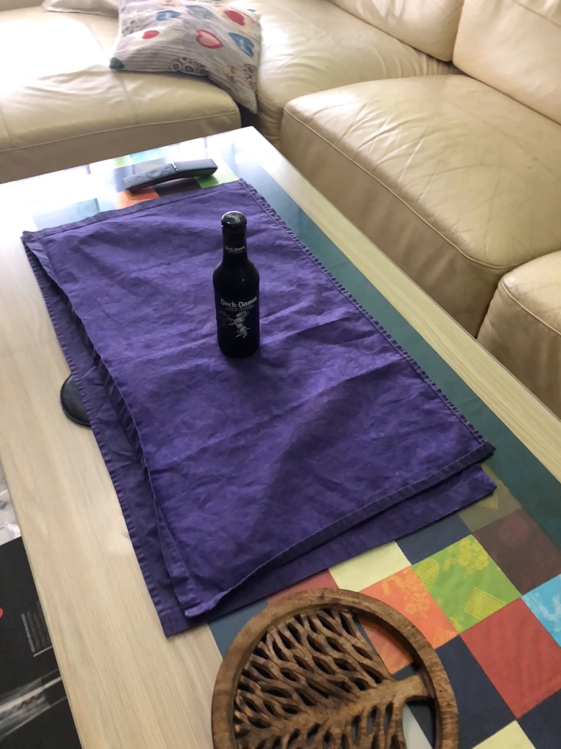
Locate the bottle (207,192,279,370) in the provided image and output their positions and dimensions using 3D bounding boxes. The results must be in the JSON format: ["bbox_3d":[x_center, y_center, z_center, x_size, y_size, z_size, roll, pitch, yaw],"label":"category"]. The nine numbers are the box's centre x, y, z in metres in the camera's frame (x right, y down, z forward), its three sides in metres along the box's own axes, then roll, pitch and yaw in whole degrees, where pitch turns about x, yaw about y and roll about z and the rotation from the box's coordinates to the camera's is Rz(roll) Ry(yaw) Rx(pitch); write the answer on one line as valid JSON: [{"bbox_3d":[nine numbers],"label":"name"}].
[{"bbox_3d":[-0.042,-0.100,0.709,0.070,0.199,0.070,1,47,-1],"label":"bottle"}]
